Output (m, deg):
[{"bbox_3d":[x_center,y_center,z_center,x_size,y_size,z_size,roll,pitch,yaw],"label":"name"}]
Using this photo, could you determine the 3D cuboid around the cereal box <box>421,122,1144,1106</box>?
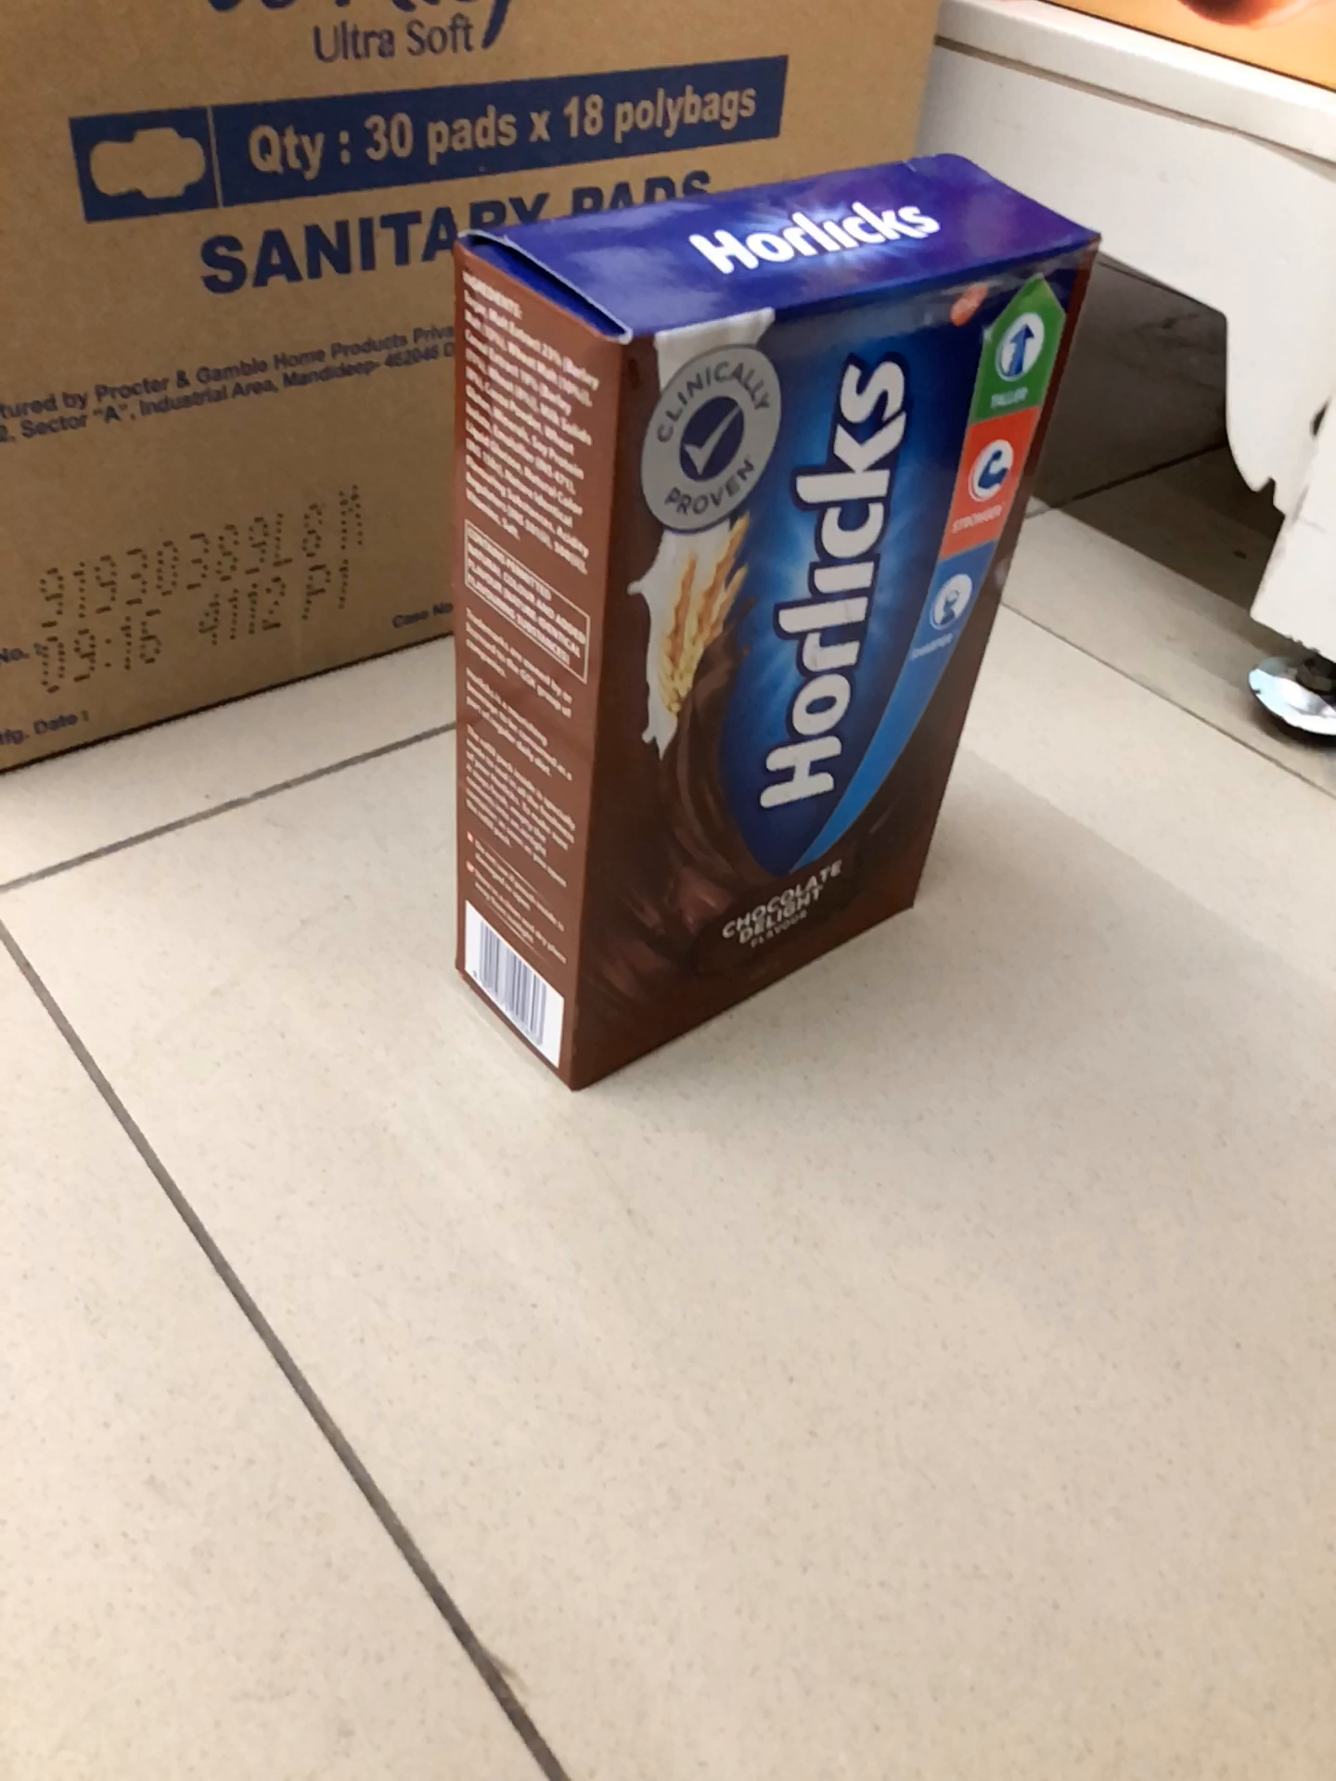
[{"bbox_3d":[0.021,-0.063,0.358,0.141,0.199,0.060,-25,49,-30],"label":"cereal box"}]
